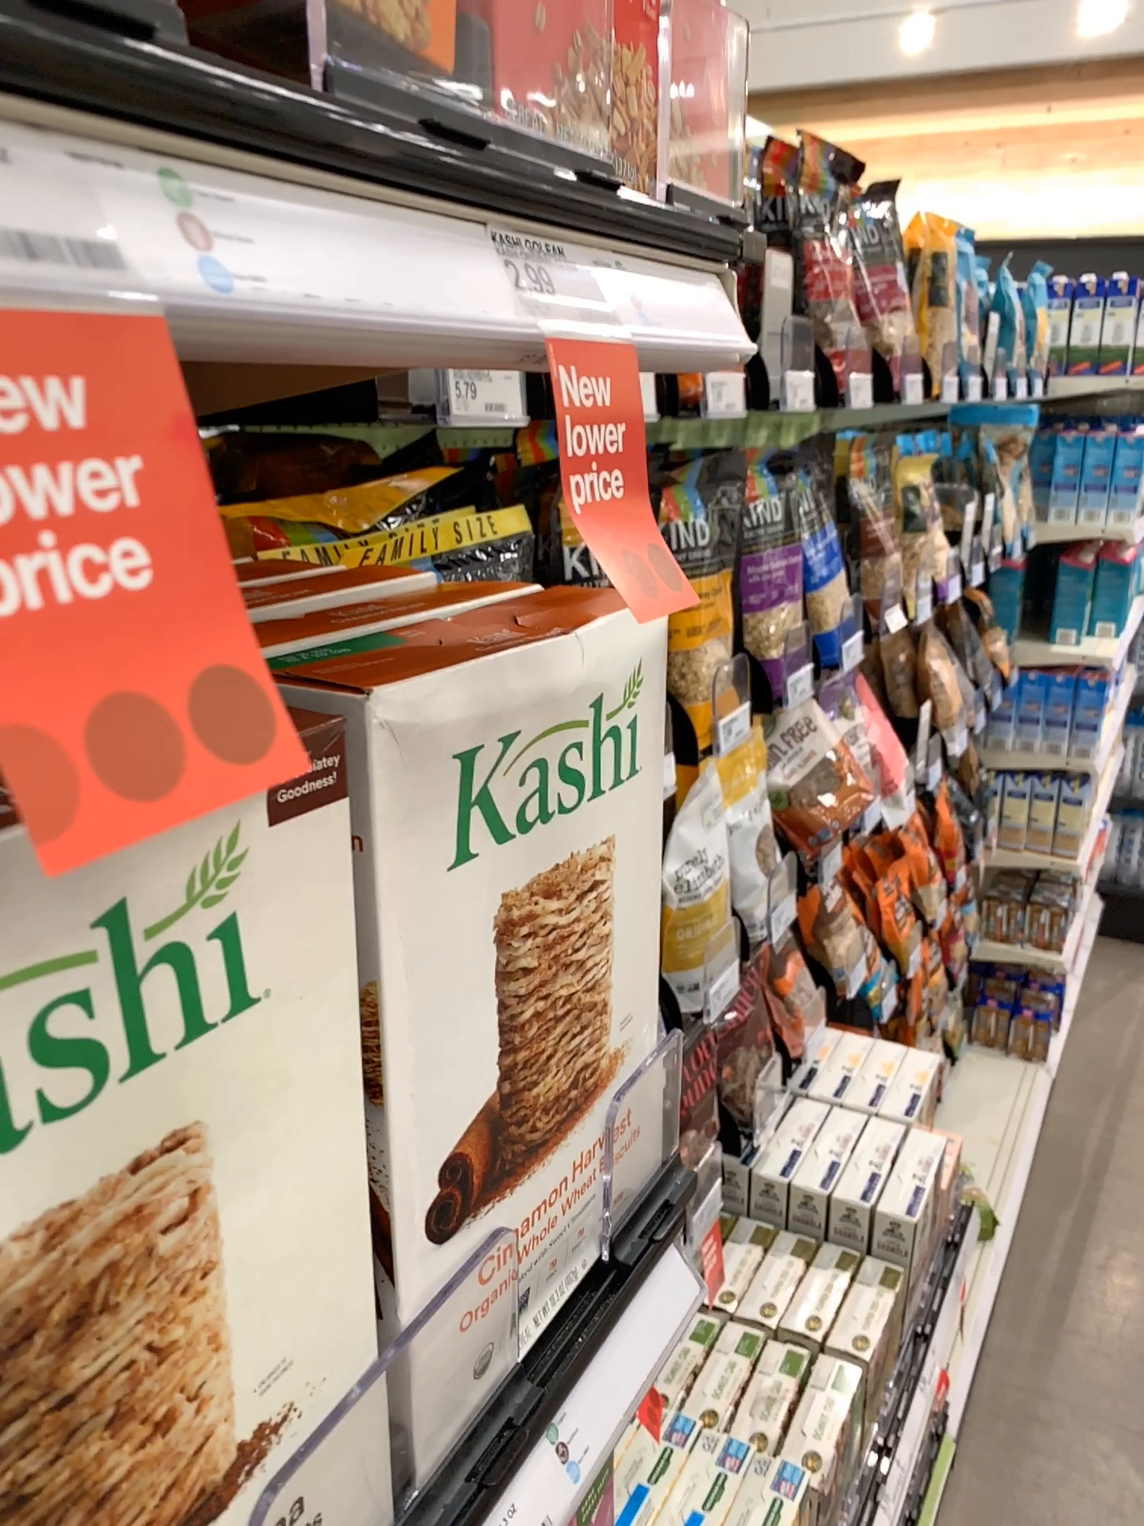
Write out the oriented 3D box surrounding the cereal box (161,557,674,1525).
[{"bbox_3d":[-0.035,0.079,0.427,0.070,0.279,0.191,8,18,28],"label":"cereal box"}]
